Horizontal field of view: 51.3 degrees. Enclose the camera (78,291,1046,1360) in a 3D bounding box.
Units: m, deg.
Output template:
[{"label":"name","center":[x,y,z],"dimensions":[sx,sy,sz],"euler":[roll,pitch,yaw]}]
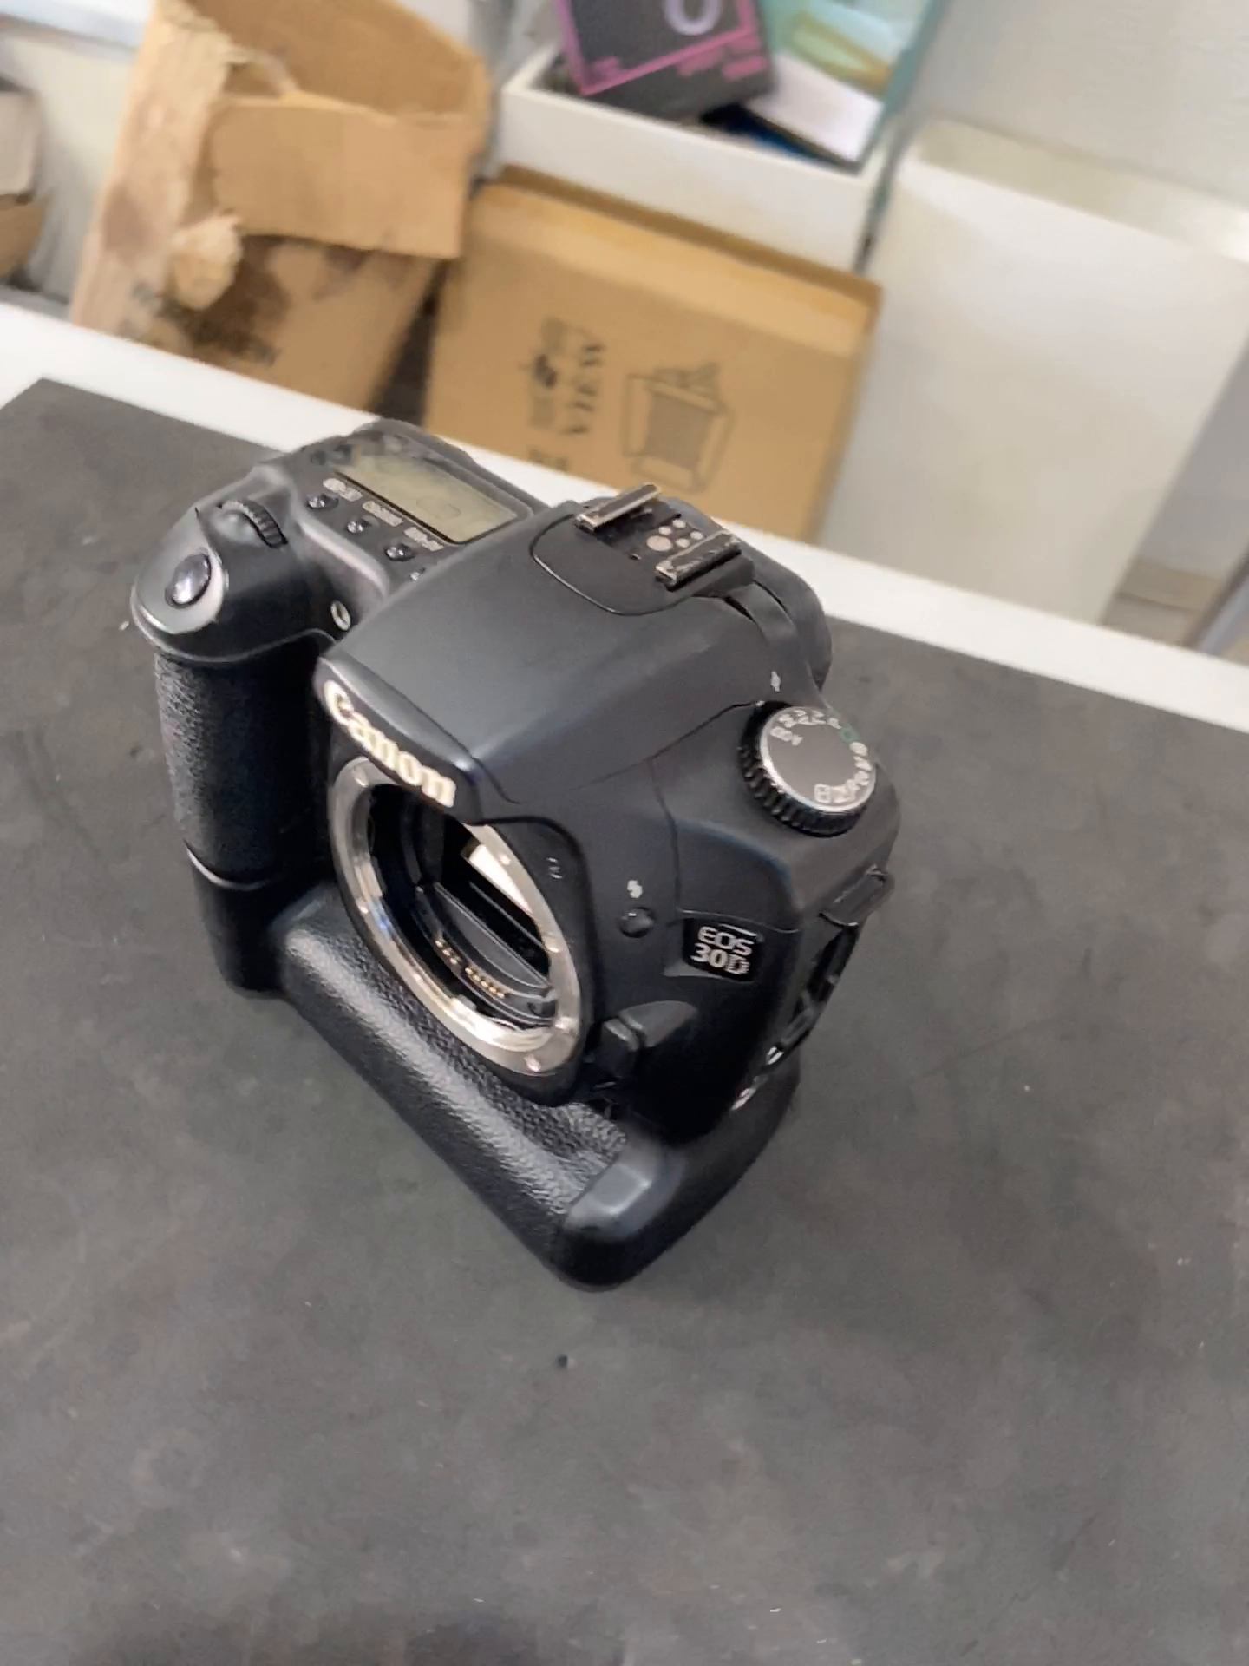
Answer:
[{"label":"camera","center":[-0.021,-0.002,0.258],"dimensions":[0.140,0.139,0.080],"euler":[38,52,24]}]
